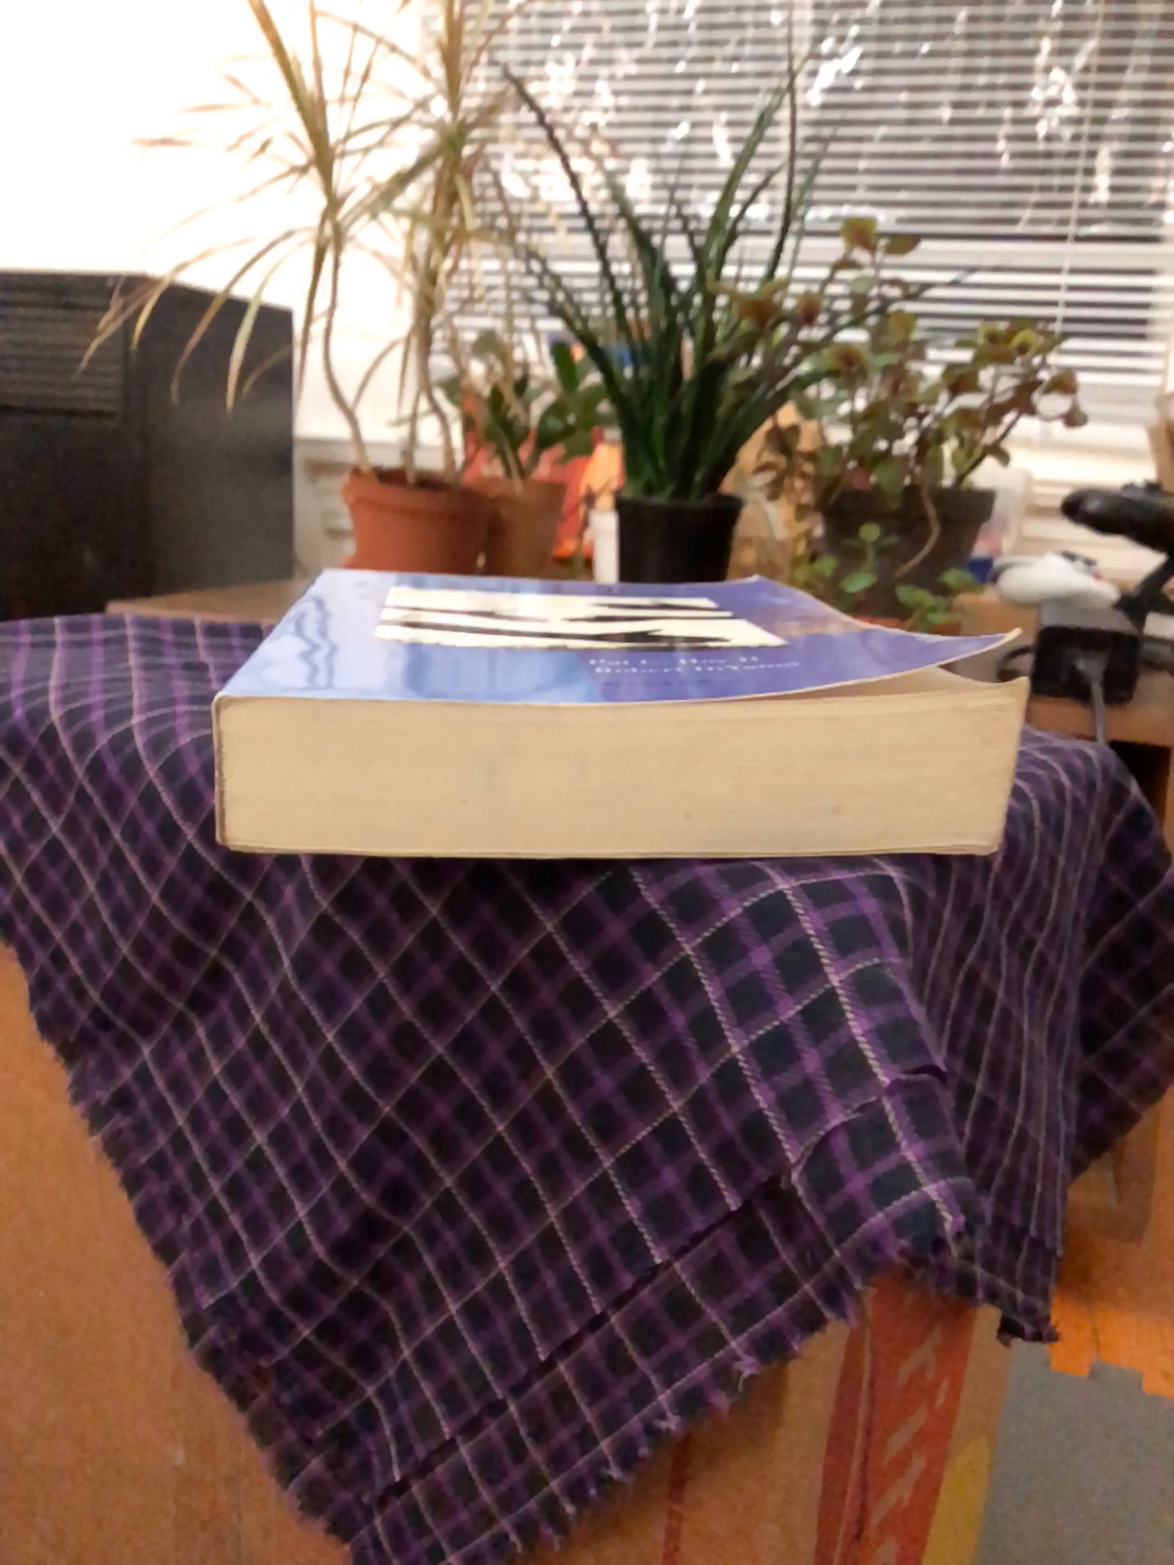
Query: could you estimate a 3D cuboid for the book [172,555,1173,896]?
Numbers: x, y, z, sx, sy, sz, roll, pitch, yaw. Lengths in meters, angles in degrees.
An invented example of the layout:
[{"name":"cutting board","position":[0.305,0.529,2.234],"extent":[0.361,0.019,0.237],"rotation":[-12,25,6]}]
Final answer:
[{"name":"book","position":[0.010,-0.030,0.371],"extent":[0.200,0.040,0.261],"rotation":[2,14,-8]}]
